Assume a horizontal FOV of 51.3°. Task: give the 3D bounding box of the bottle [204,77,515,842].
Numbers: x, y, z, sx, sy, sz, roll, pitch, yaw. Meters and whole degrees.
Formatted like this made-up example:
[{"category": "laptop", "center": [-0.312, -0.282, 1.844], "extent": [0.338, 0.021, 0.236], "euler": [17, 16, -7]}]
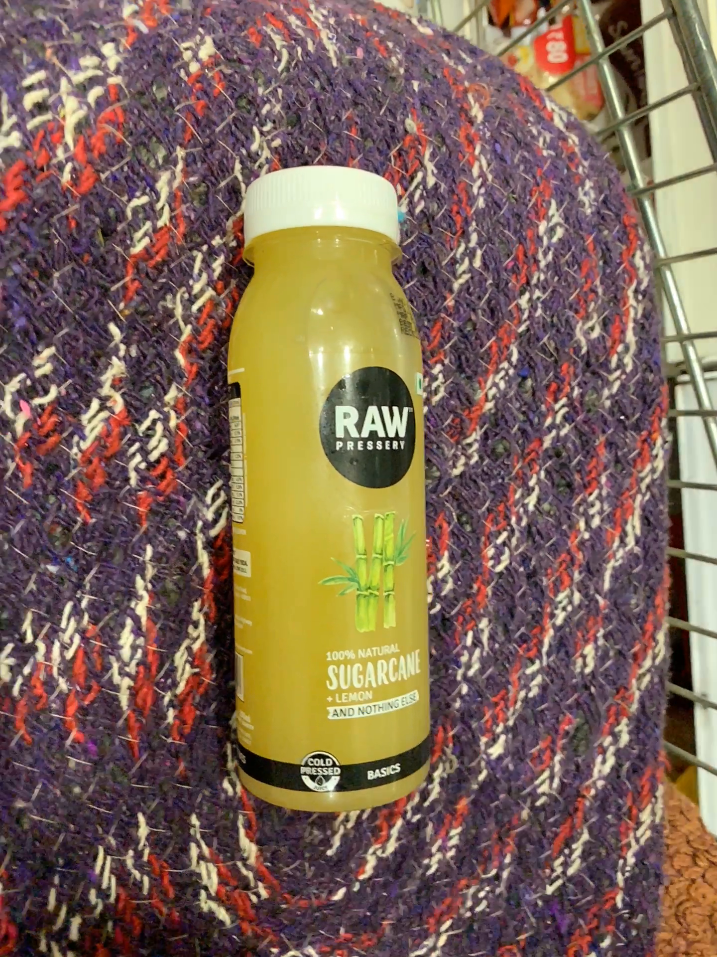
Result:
[{"category": "bottle", "center": [-0.001, -0.004, 0.192], "extent": [0.060, 0.050, 0.160], "euler": [-3, 93, -29]}]
